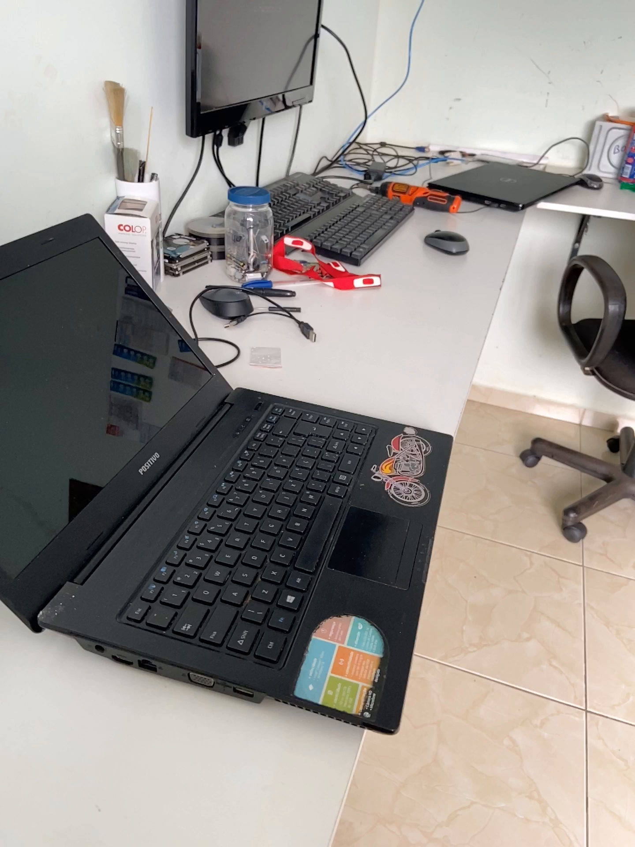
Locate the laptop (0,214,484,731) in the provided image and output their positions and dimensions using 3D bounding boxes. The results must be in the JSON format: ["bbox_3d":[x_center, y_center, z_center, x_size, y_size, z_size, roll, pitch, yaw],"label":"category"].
[{"bbox_3d":[-0.094,-0.016,0.507,0.392,0.162,0.336,12,32,11],"label":"laptop"}]
